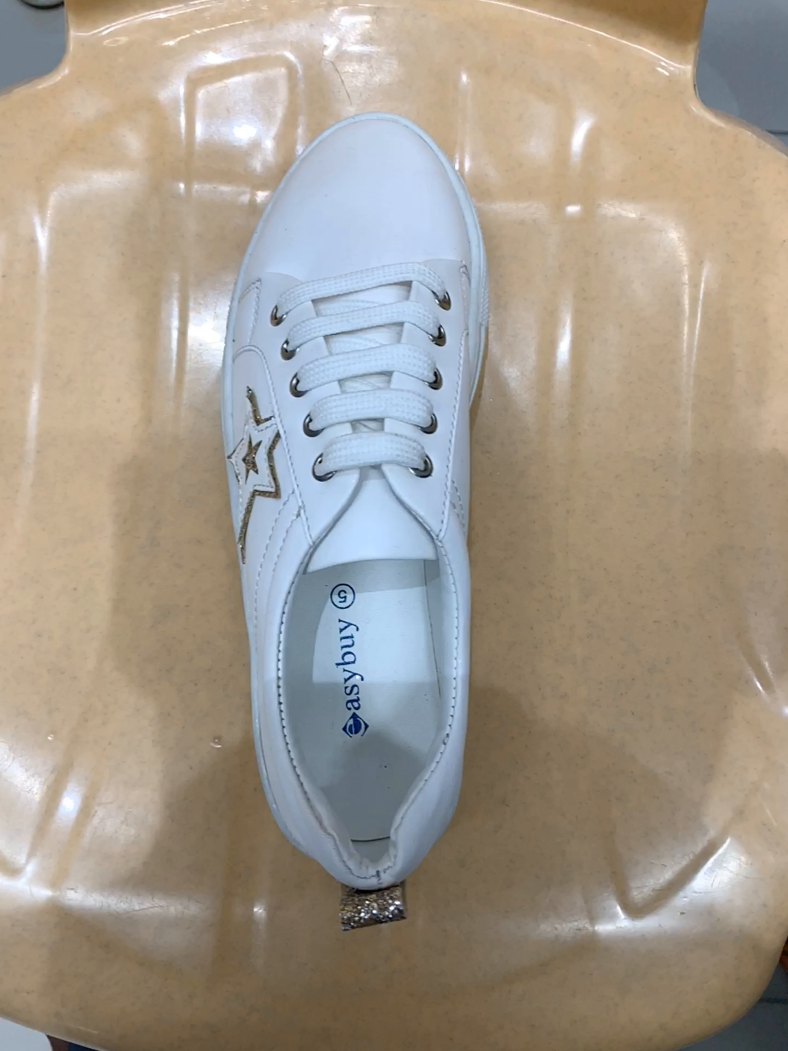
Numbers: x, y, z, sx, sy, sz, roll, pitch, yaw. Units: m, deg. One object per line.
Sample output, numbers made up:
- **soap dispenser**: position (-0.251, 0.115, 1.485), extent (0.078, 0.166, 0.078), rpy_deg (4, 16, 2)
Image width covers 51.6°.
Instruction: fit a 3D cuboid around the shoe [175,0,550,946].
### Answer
- **shoe**: position (-0.009, -0.015, 0.250), extent (0.090, 0.090, 0.240), rpy_deg (-1, 85, 1)
